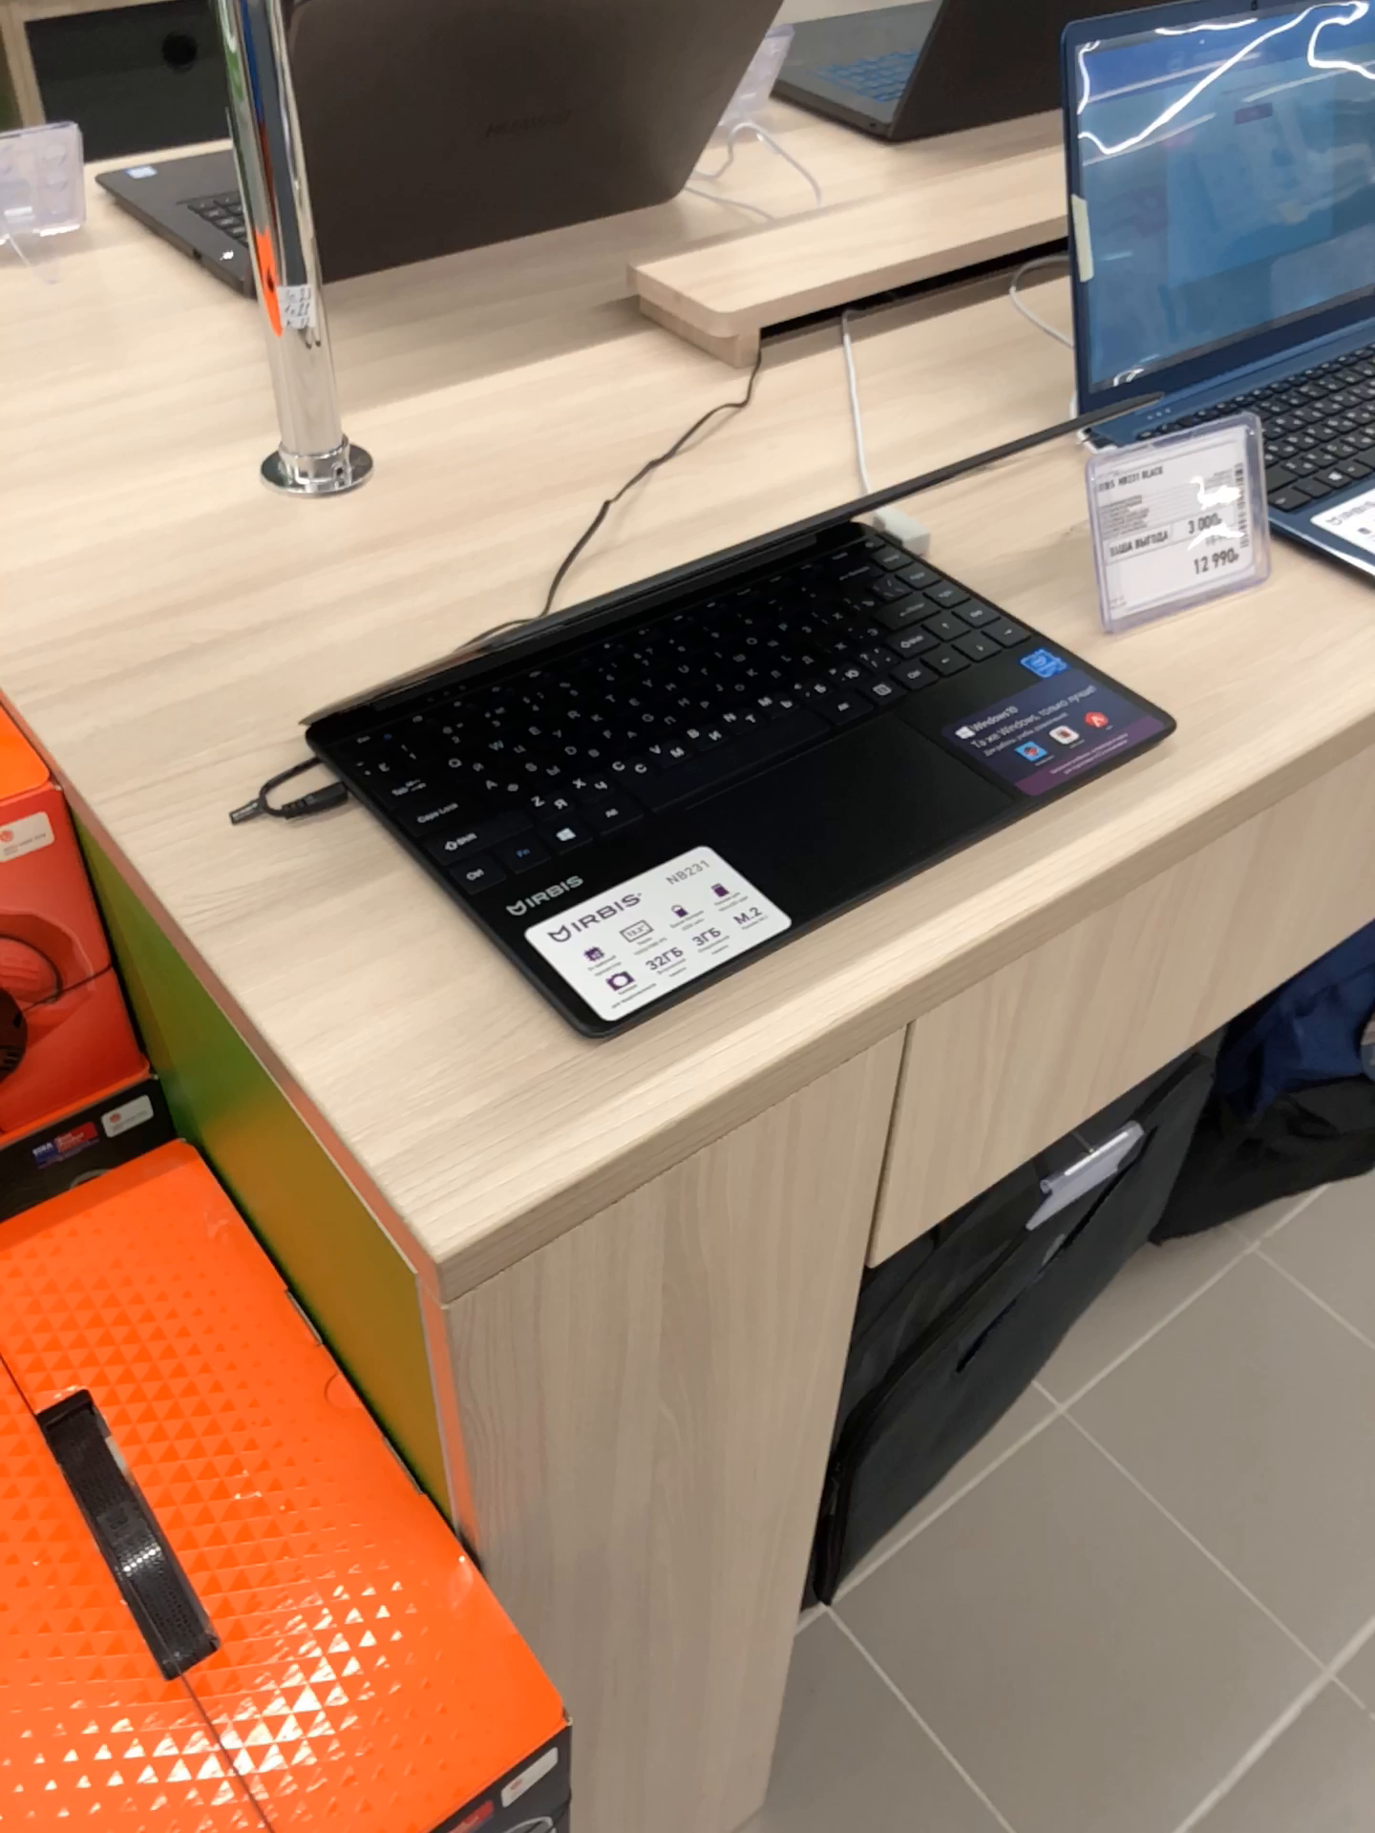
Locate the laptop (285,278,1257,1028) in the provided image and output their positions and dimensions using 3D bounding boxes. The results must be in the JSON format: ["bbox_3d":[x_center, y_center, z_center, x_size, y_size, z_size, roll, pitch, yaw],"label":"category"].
[{"bbox_3d":[0.032,-0.125,0.606,0.300,0.132,0.203,-26,50,-27],"label":"laptop"}]
